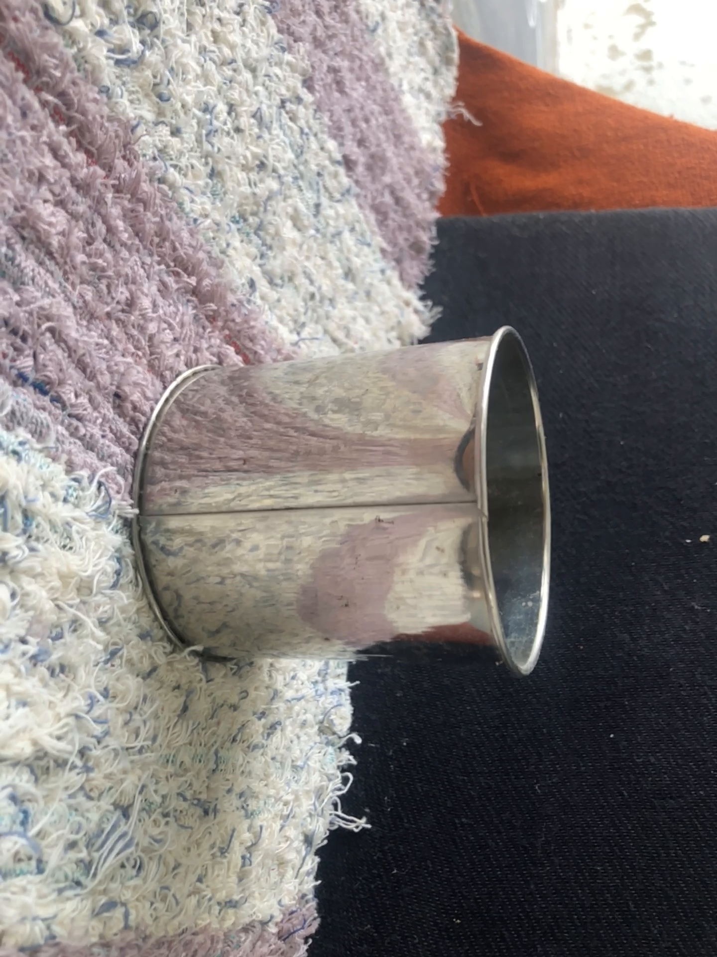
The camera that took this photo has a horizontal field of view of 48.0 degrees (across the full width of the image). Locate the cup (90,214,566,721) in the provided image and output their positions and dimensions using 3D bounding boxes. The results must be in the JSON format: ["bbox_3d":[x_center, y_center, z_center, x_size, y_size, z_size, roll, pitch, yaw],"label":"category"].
[{"bbox_3d":[0.004,0.003,0.199,0.080,0.079,0.090,52,42,-57],"label":"cup"}]
